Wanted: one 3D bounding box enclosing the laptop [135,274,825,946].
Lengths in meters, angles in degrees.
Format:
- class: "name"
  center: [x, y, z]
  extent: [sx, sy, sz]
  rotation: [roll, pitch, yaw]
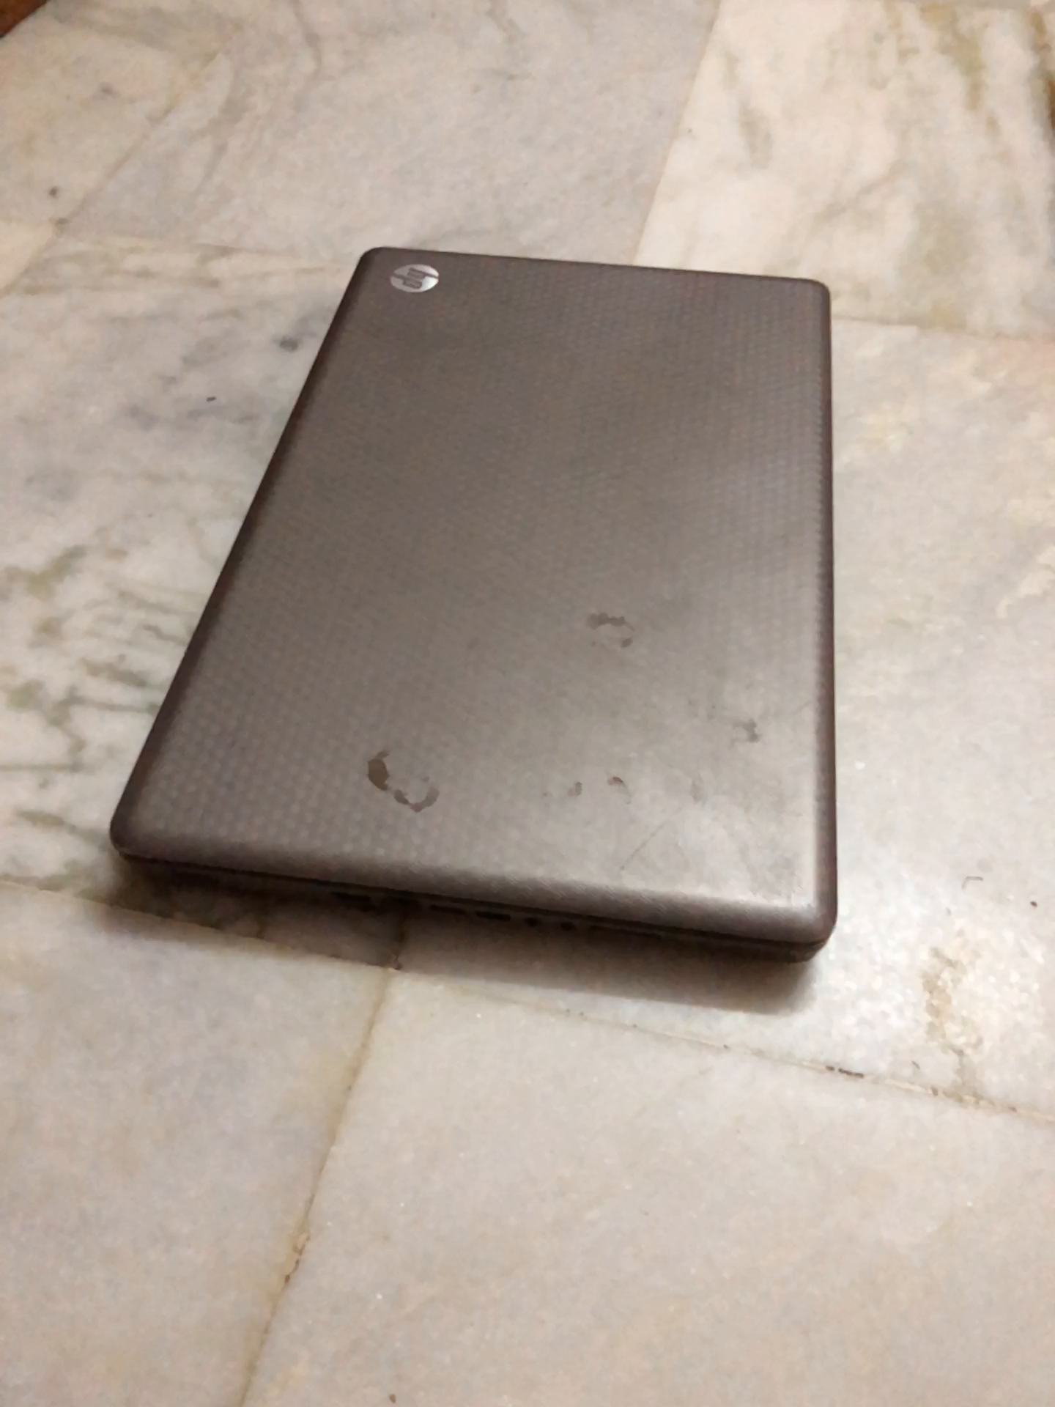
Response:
- class: "laptop"
  center: [0.008, -0.079, 0.532]
  extent: [0.248, 0.002, 0.380]
  rotation: [7, 53, 7]
